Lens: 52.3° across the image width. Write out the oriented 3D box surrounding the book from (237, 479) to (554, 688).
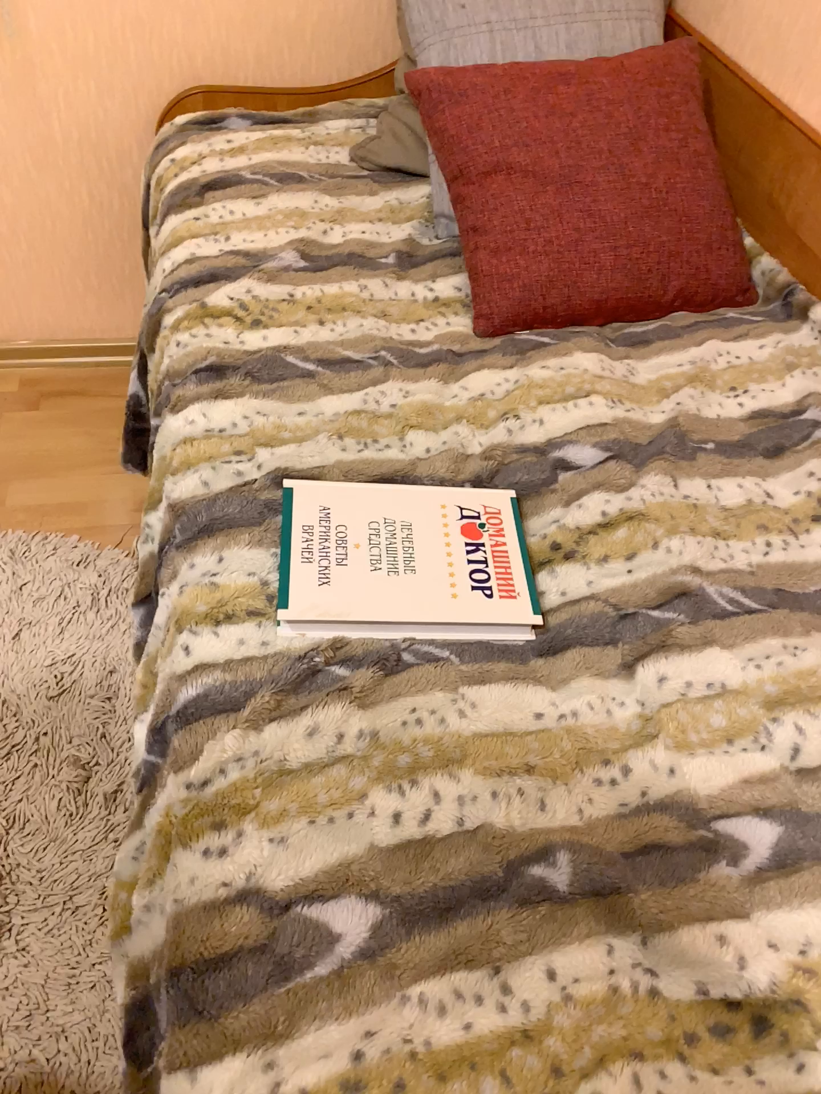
[{"bbox_3d":[-0.016,0.026,0.708,0.240,0.040,0.192,1,48,-6],"label":"book"}]
